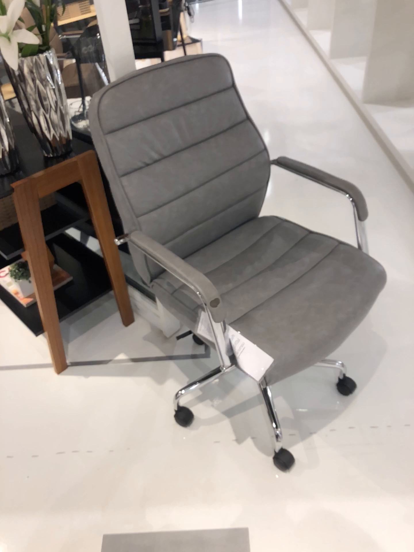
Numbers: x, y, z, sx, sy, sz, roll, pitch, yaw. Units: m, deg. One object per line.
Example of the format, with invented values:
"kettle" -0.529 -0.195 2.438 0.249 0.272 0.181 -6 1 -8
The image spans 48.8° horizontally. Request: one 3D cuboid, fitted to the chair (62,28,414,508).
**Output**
"chair" 0.142 -0.015 1.226 0.602 0.992 0.553 -31 46 -27
